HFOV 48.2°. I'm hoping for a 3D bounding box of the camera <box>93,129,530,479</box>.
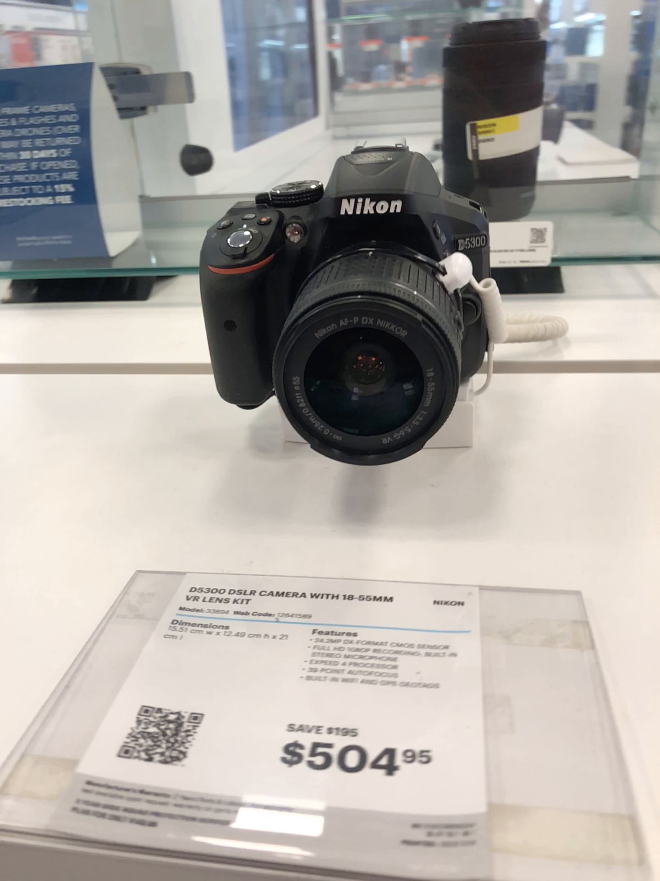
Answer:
[{"bbox_3d":[0.005,-0.063,0.300,0.130,0.100,0.141,0,26,9],"label":"camera"}]
